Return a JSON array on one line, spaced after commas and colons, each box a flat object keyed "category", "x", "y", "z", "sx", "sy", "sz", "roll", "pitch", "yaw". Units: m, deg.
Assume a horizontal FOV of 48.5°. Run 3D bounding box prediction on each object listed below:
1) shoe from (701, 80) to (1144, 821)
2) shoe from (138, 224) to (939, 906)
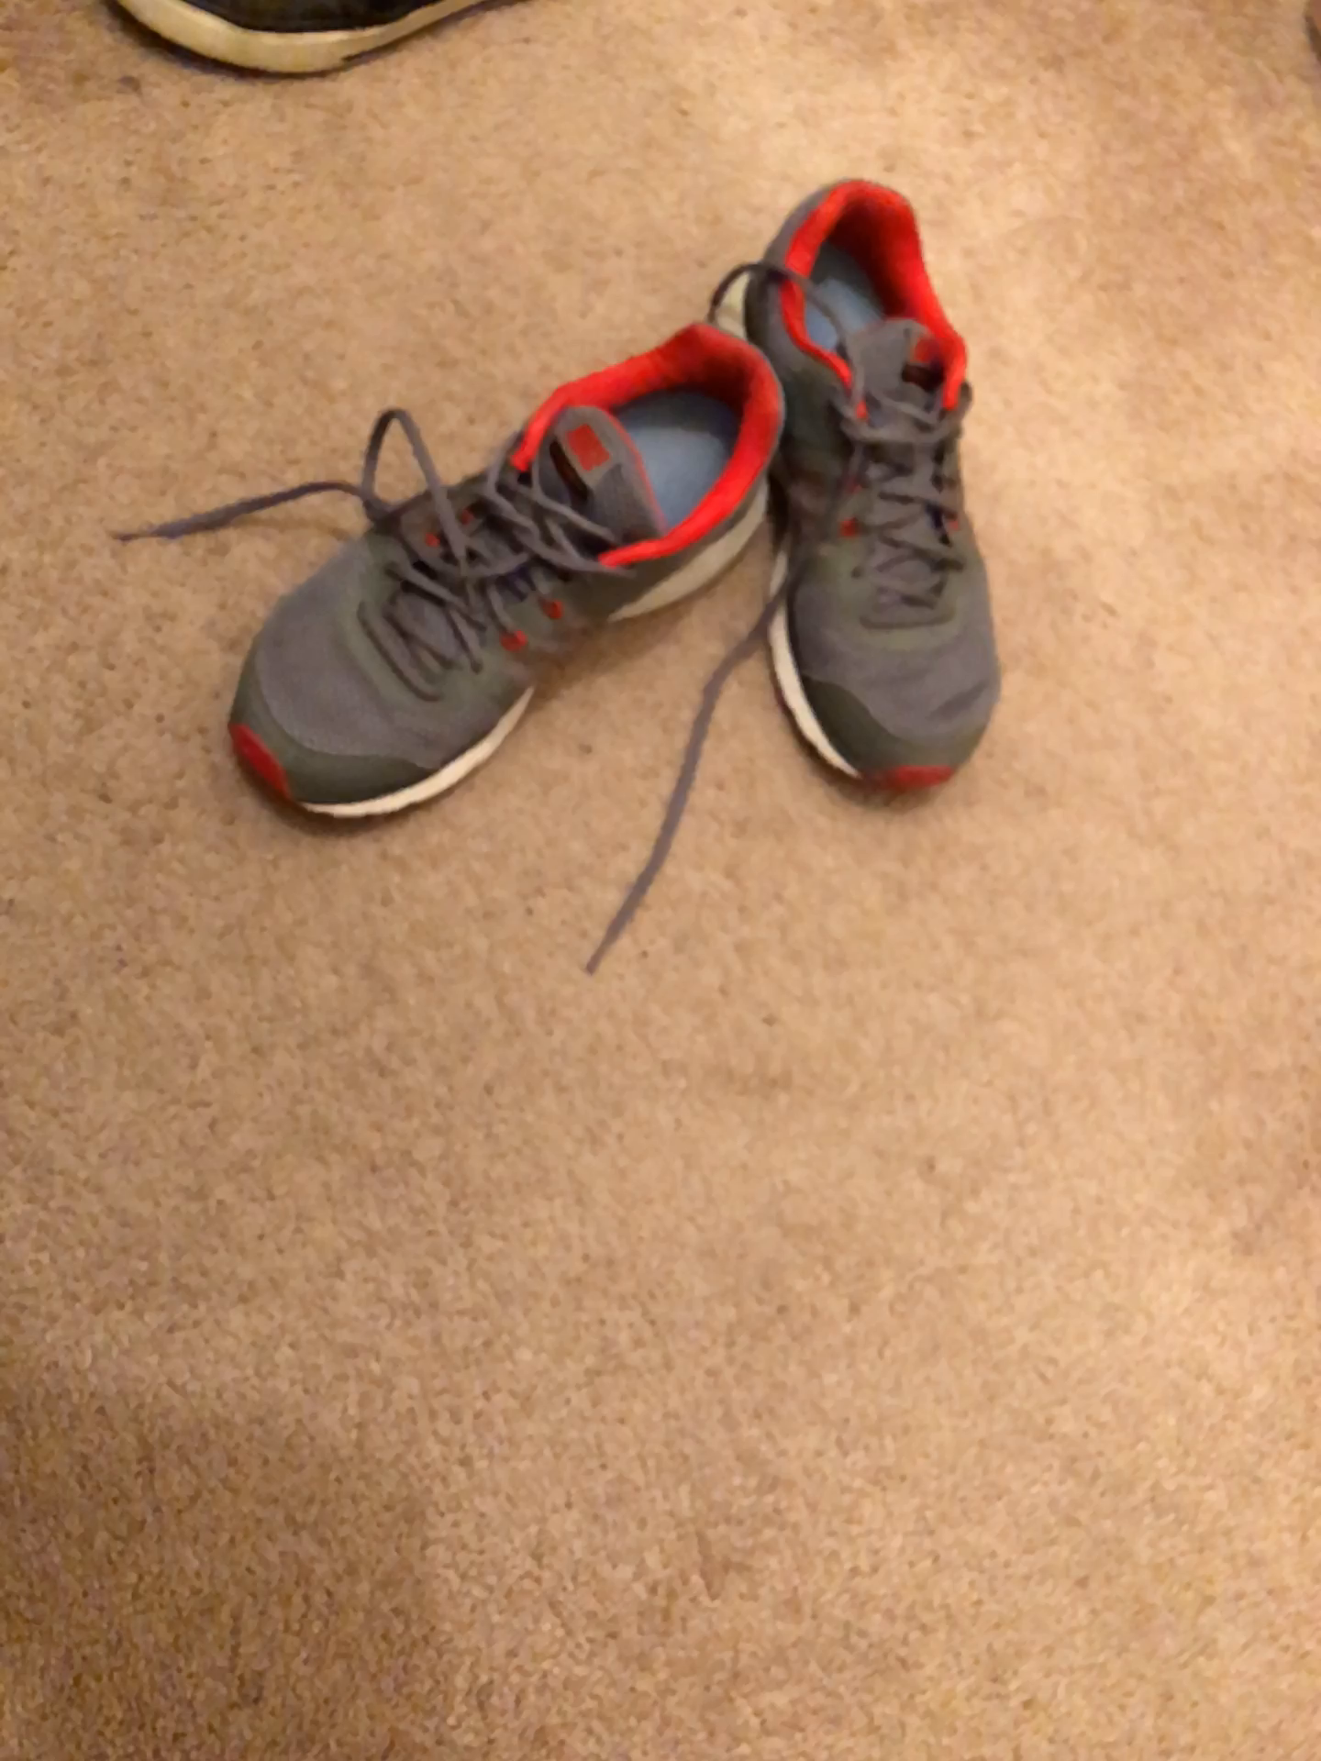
[{"category": "shoe", "x": 0.107, "y": -0.189, "z": 0.665, "sx": 0.113, "sy": 0.120, "sz": 0.298, "roll": -3, "pitch": 75, "yaw": -14}, {"category": "shoe", "x": -0.047, "y": -0.132, "z": 0.612, "sx": 0.298, "sy": 0.120, "sz": 0.113, "roll": -35, "pitch": 85, "yaw": -20}]
